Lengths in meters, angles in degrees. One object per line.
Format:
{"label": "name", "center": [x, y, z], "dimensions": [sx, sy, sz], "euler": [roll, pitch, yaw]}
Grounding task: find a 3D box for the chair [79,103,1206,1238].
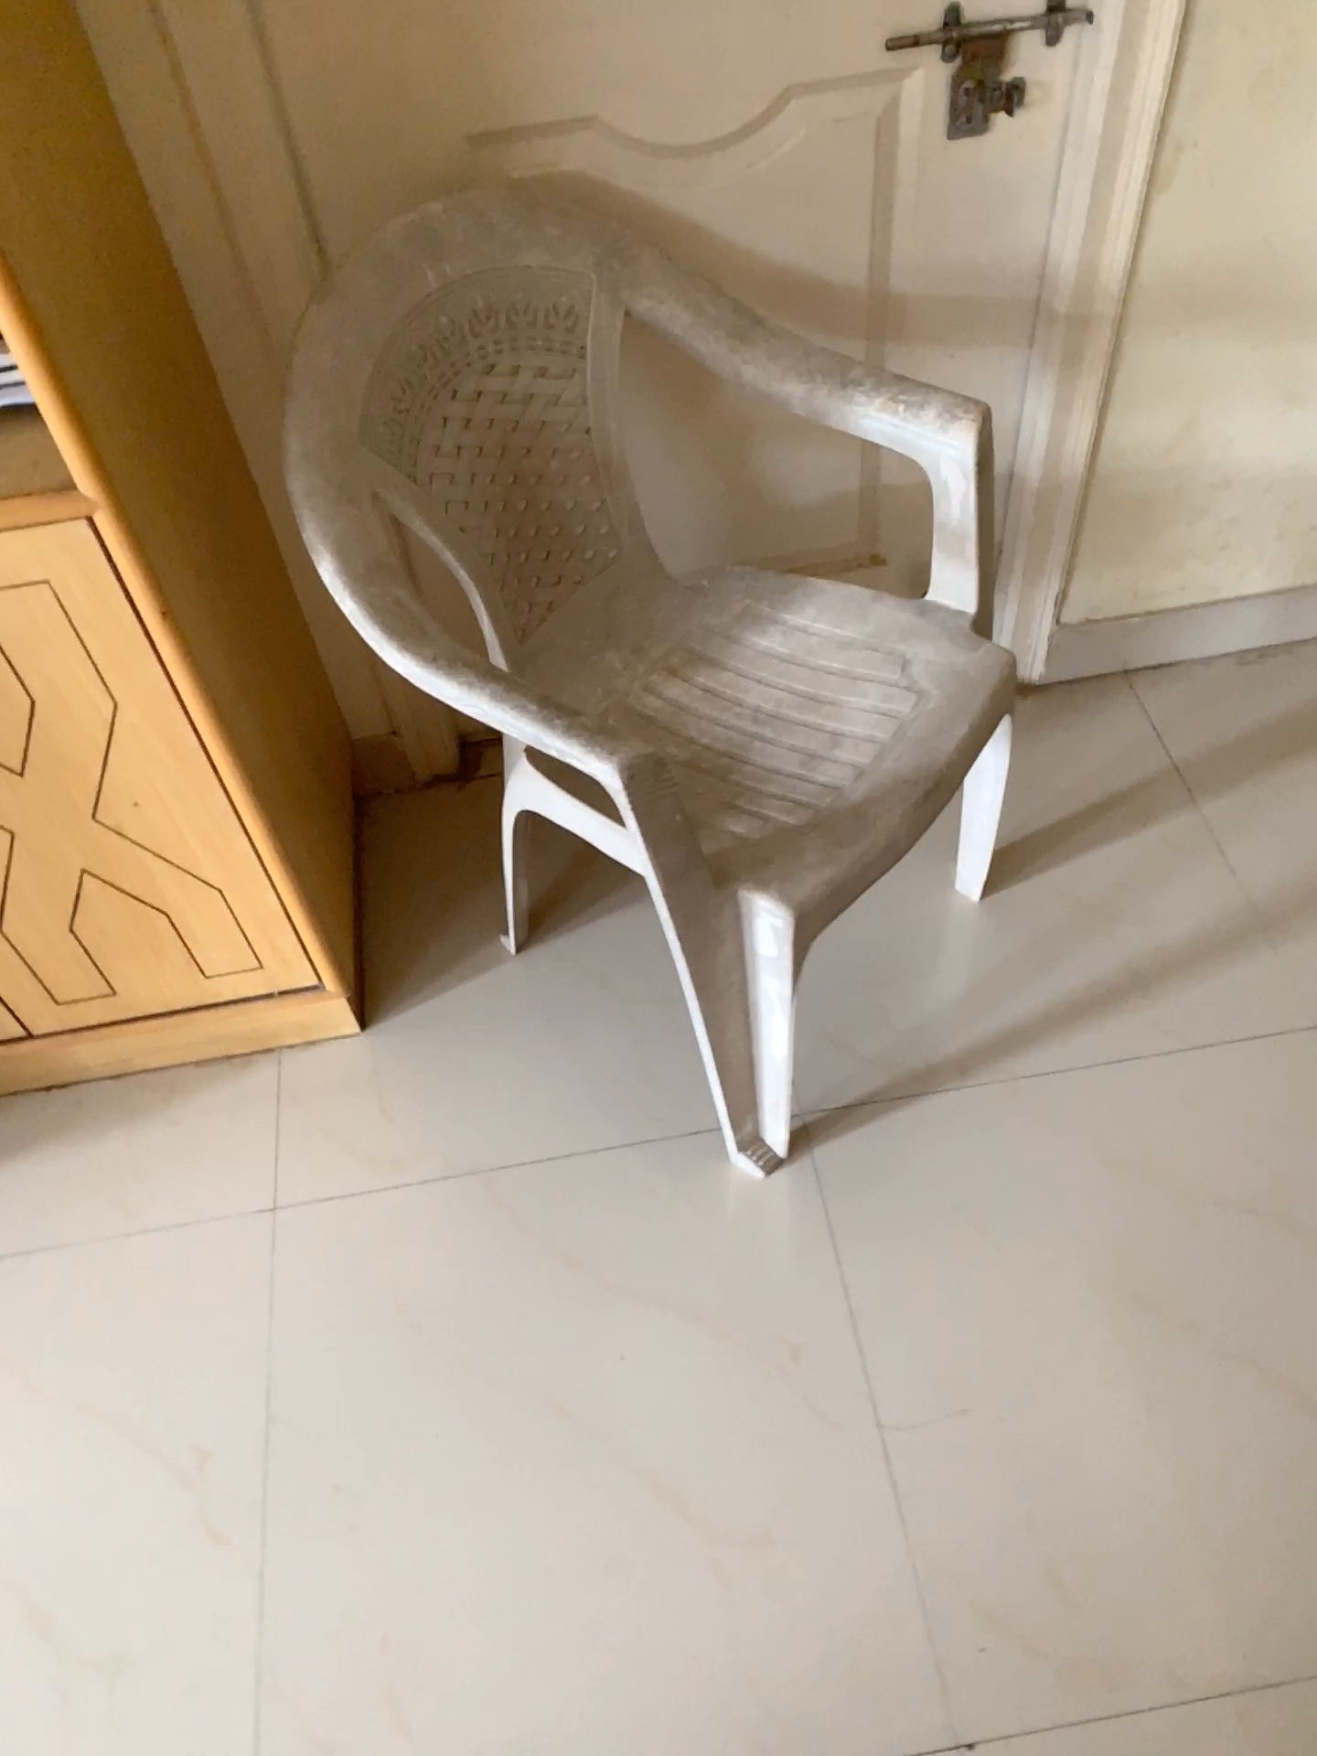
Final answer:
{"label": "chair", "center": [0.007, -0.213, 1.344], "dimensions": [0.673, 0.725, 0.612], "euler": [32, 60, 27]}
